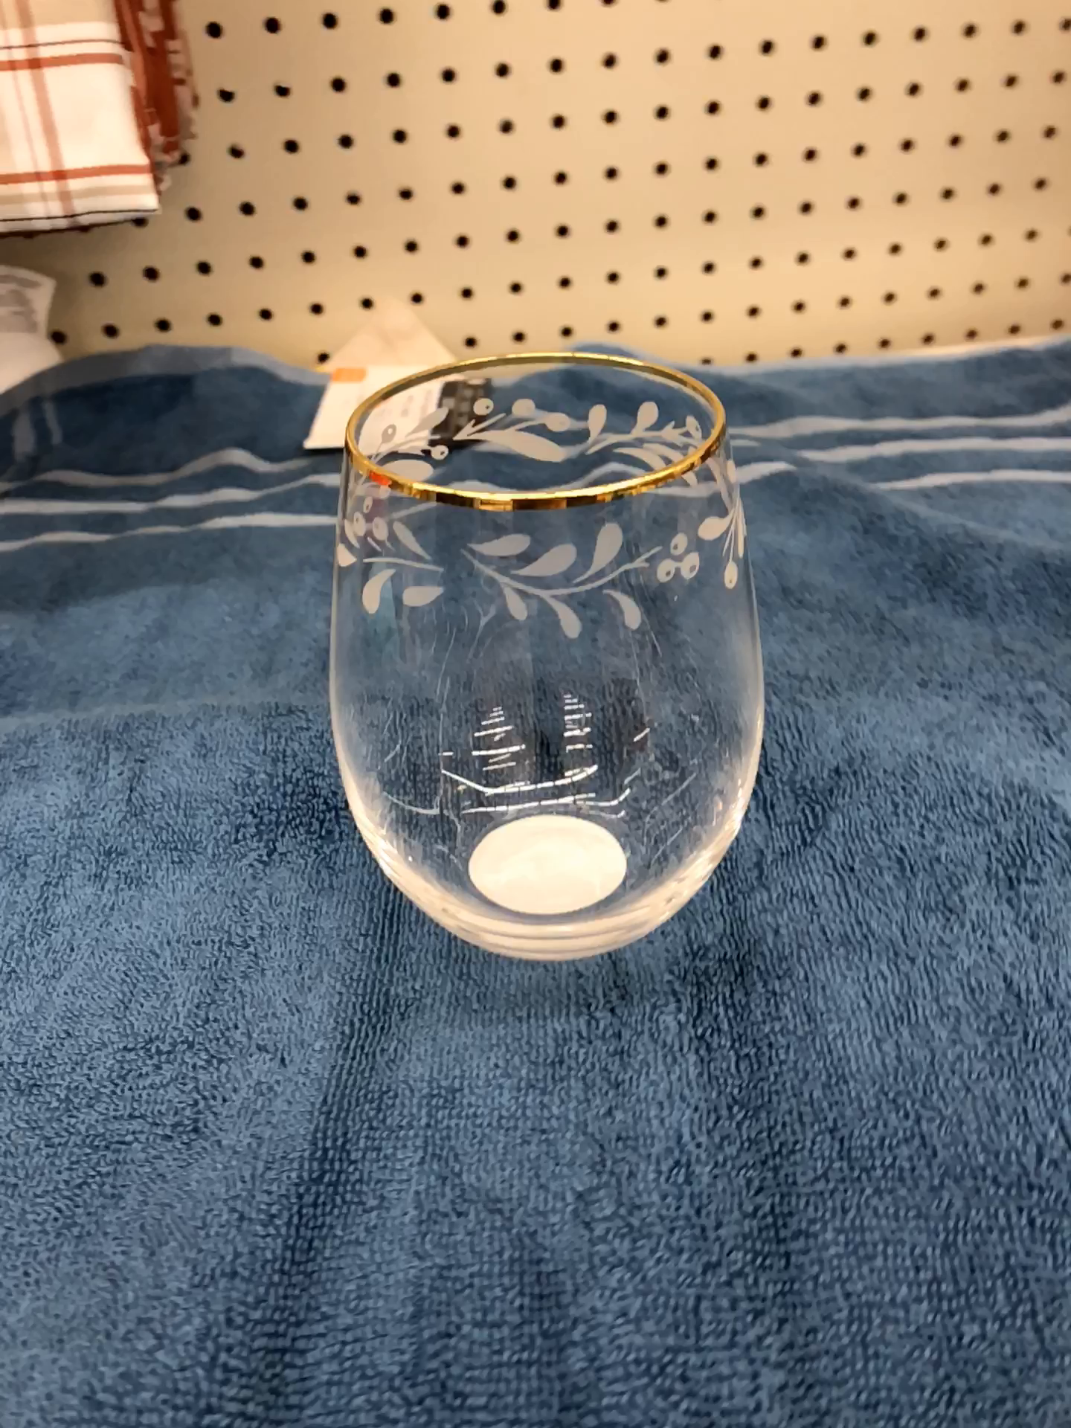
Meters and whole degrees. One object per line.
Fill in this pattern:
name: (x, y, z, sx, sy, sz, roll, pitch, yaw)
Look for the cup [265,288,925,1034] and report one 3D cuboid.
cup: (0.007, -0.013, 0.227, 0.090, 0.100, 0.090, -3, 35, 2)
